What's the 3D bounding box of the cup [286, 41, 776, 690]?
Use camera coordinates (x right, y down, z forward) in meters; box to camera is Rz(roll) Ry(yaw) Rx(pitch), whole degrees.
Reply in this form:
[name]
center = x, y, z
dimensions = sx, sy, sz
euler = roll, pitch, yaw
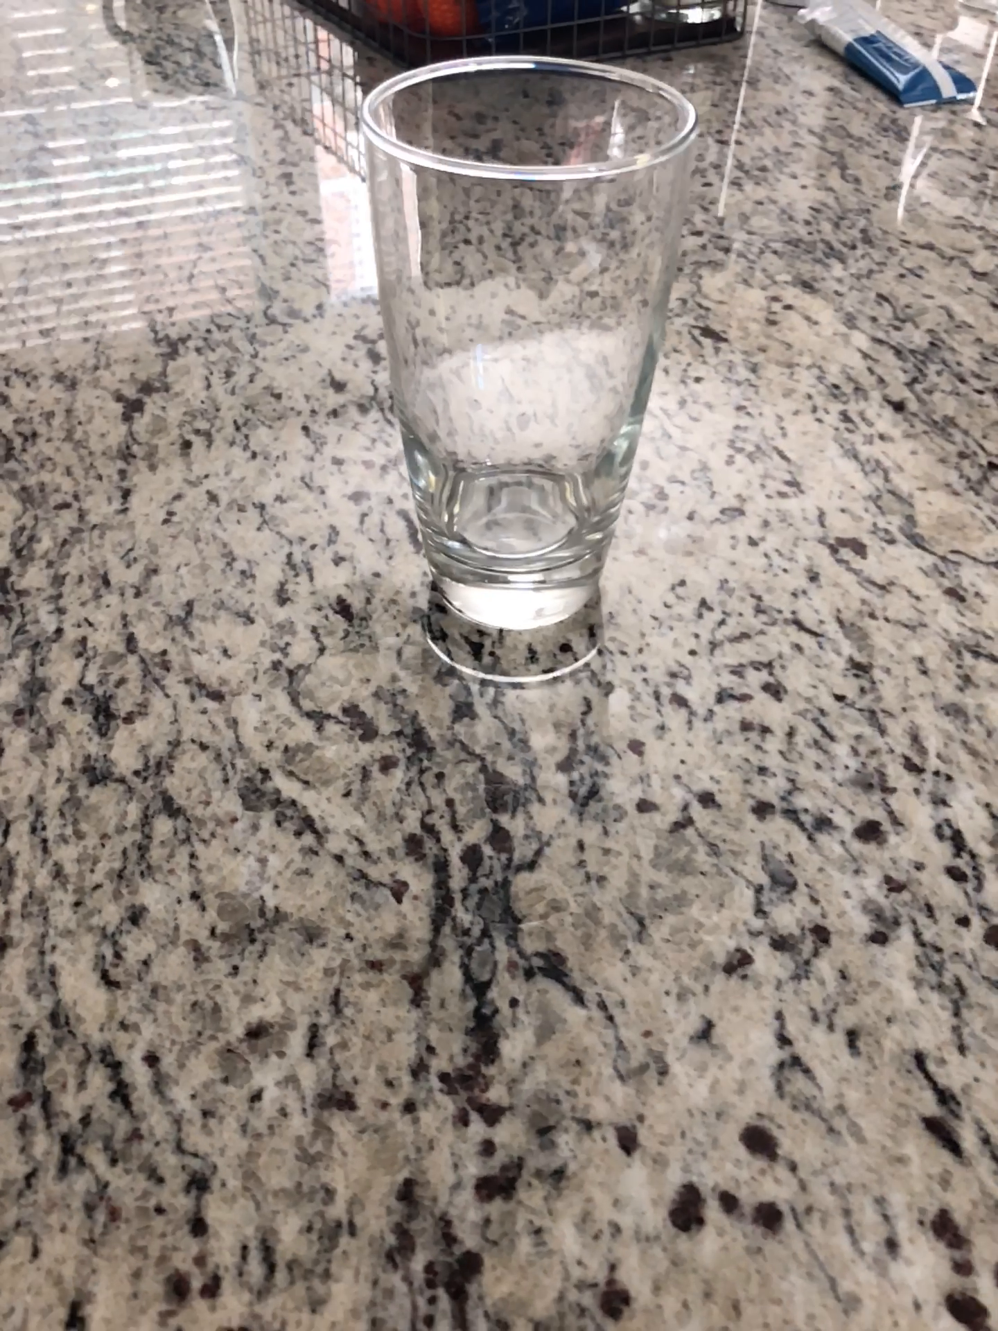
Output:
[cup]
center = 0.009, -0.083, 0.314
dimensions = 0.090, 0.139, 0.081
euler = 22, 47, 21
